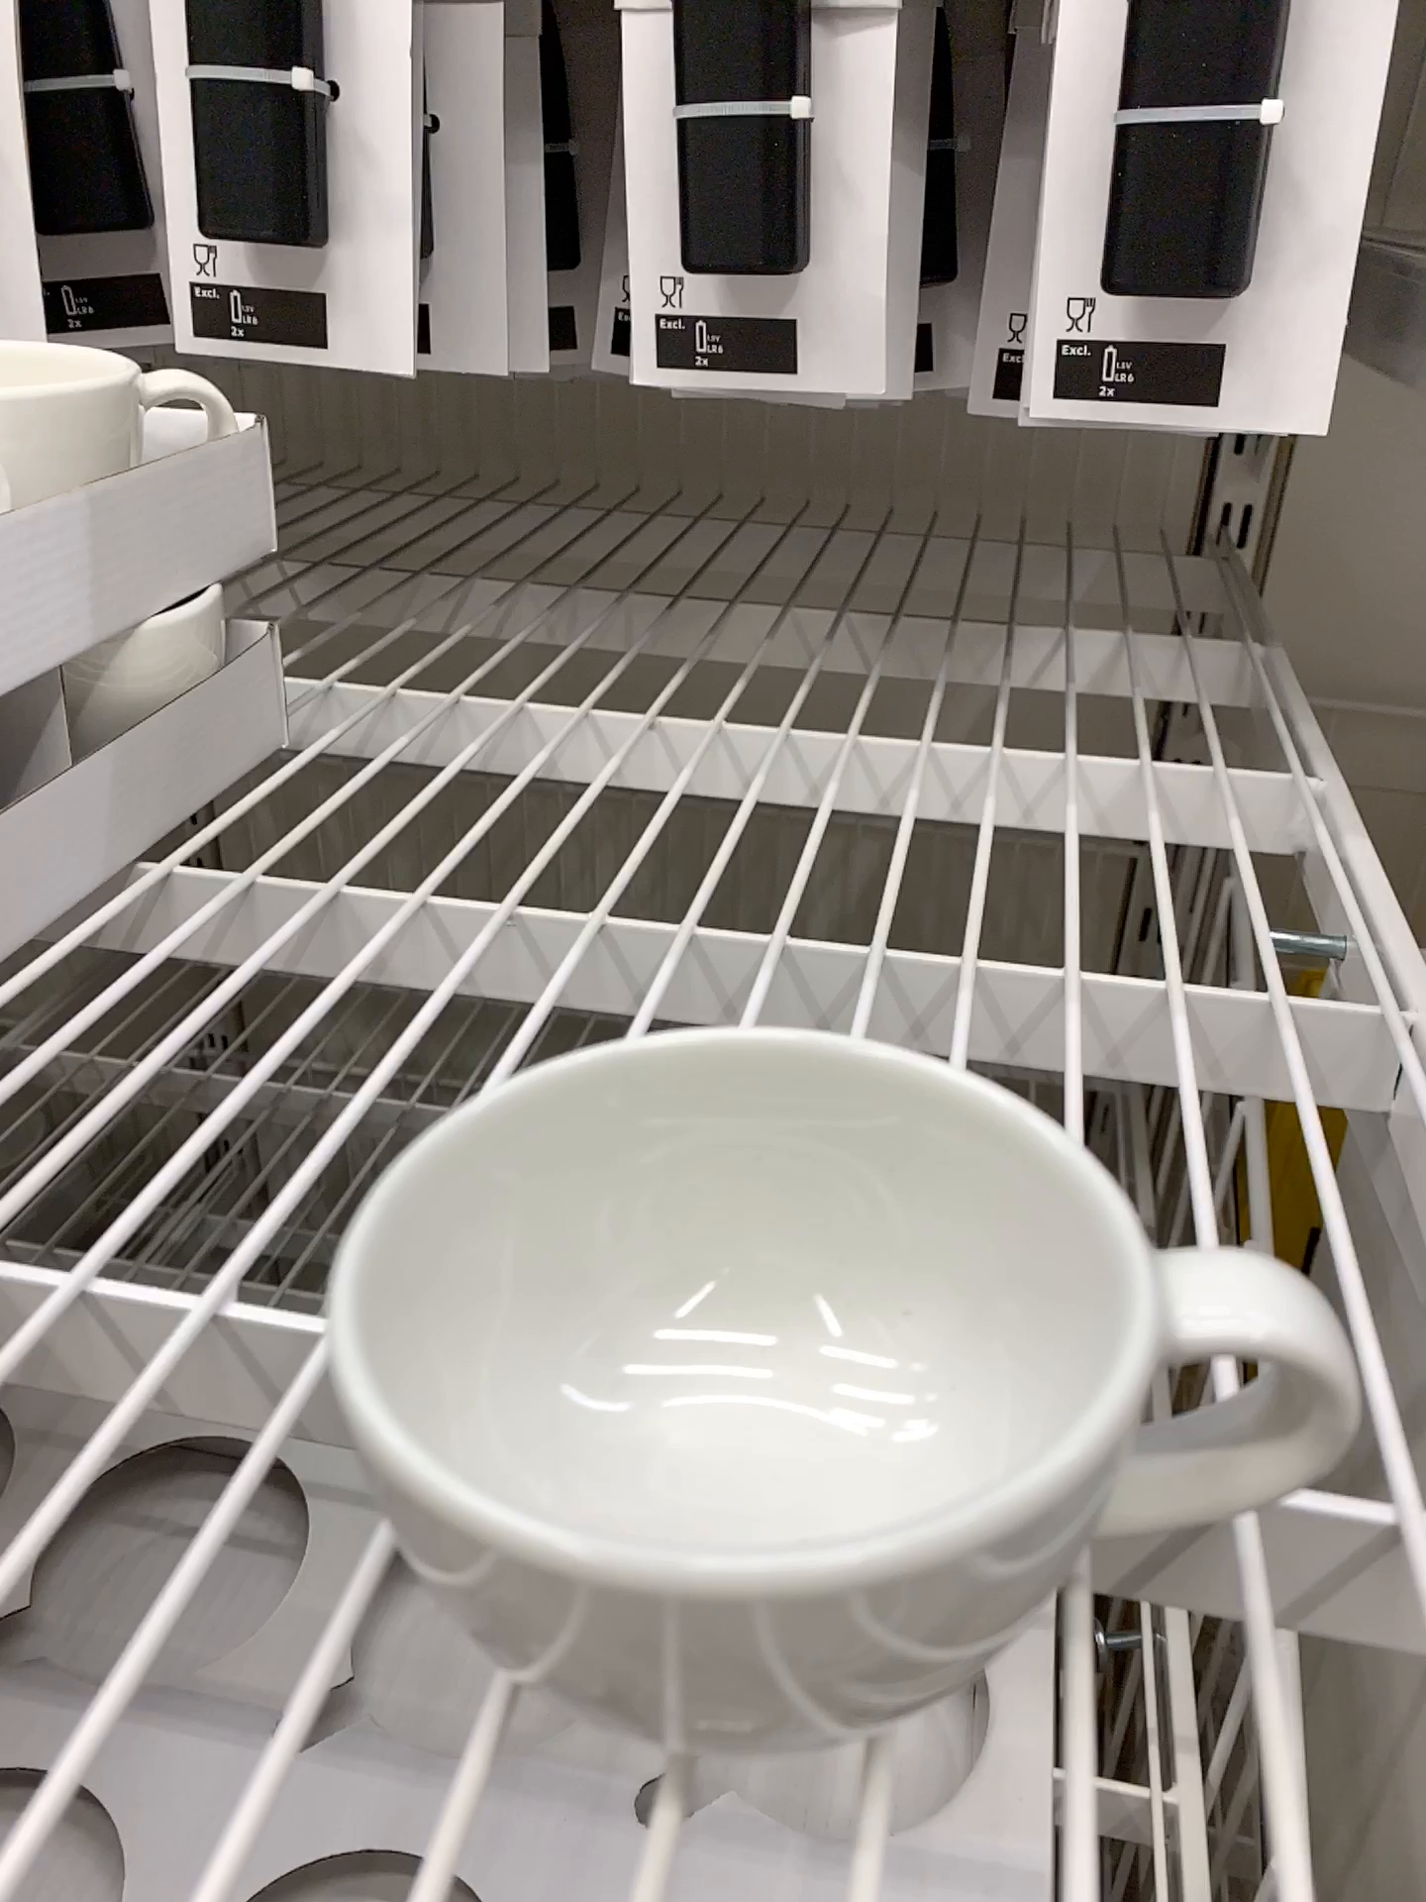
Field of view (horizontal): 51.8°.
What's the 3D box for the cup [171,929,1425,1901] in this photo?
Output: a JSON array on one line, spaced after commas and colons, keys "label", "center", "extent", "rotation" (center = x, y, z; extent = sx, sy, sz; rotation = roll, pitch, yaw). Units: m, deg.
[{"label": "cup", "center": [0.018, 0.040, 0.165], "extent": [0.116, 0.036, 0.097], "rotation": [4, 28, 4]}]
